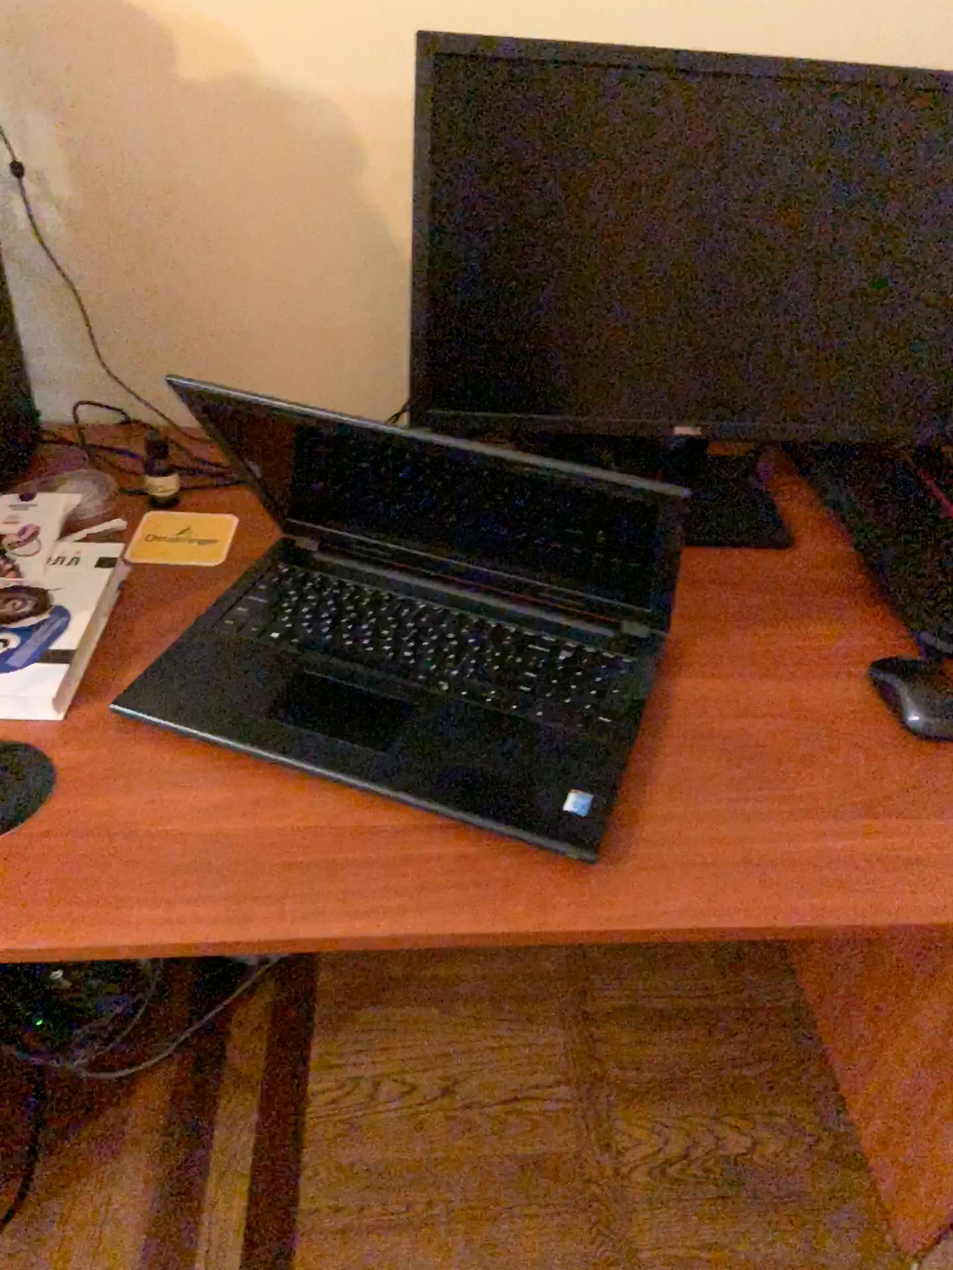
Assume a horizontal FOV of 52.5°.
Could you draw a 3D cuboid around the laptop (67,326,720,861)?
[{"bbox_3d":[-0.046,-0.050,0.713,0.373,0.202,0.247,15,40,13],"label":"laptop"}]
